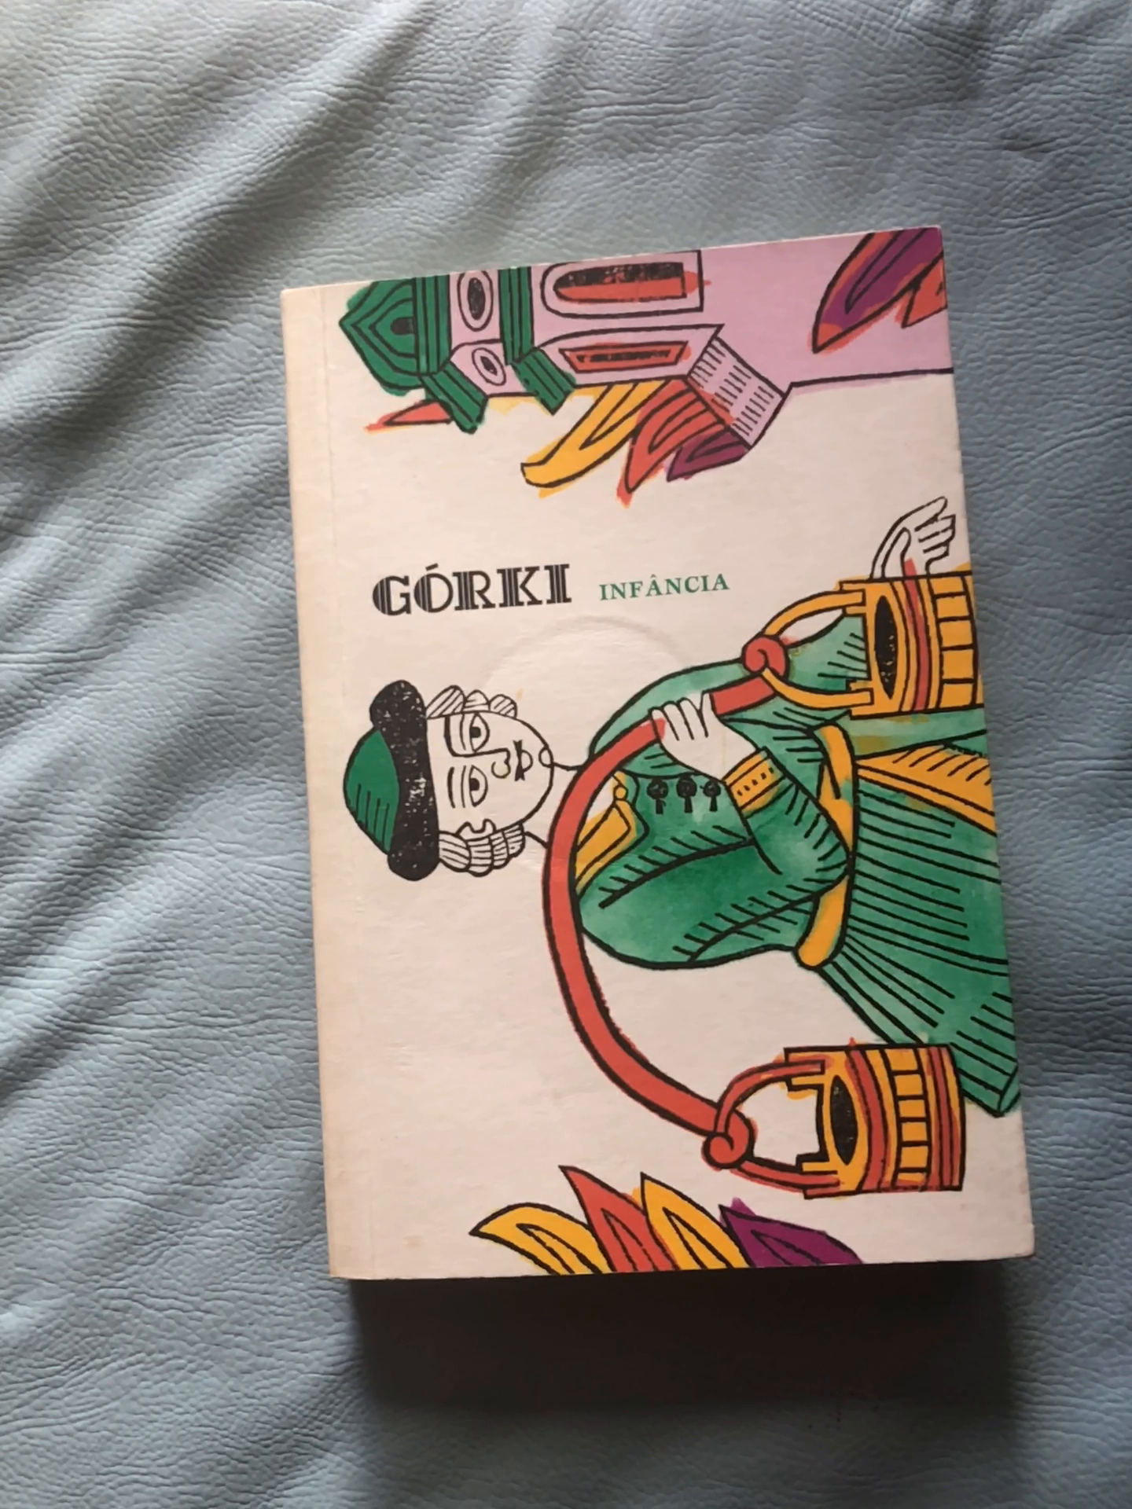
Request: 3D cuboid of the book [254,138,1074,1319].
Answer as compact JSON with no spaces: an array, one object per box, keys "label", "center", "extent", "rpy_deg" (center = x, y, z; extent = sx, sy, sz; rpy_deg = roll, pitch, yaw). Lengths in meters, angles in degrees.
[{"label":"book","center":[0.015,-0.005,0.238],"extent":[0.130,0.030,0.200],"rpy_deg":[-4,86,4]}]
